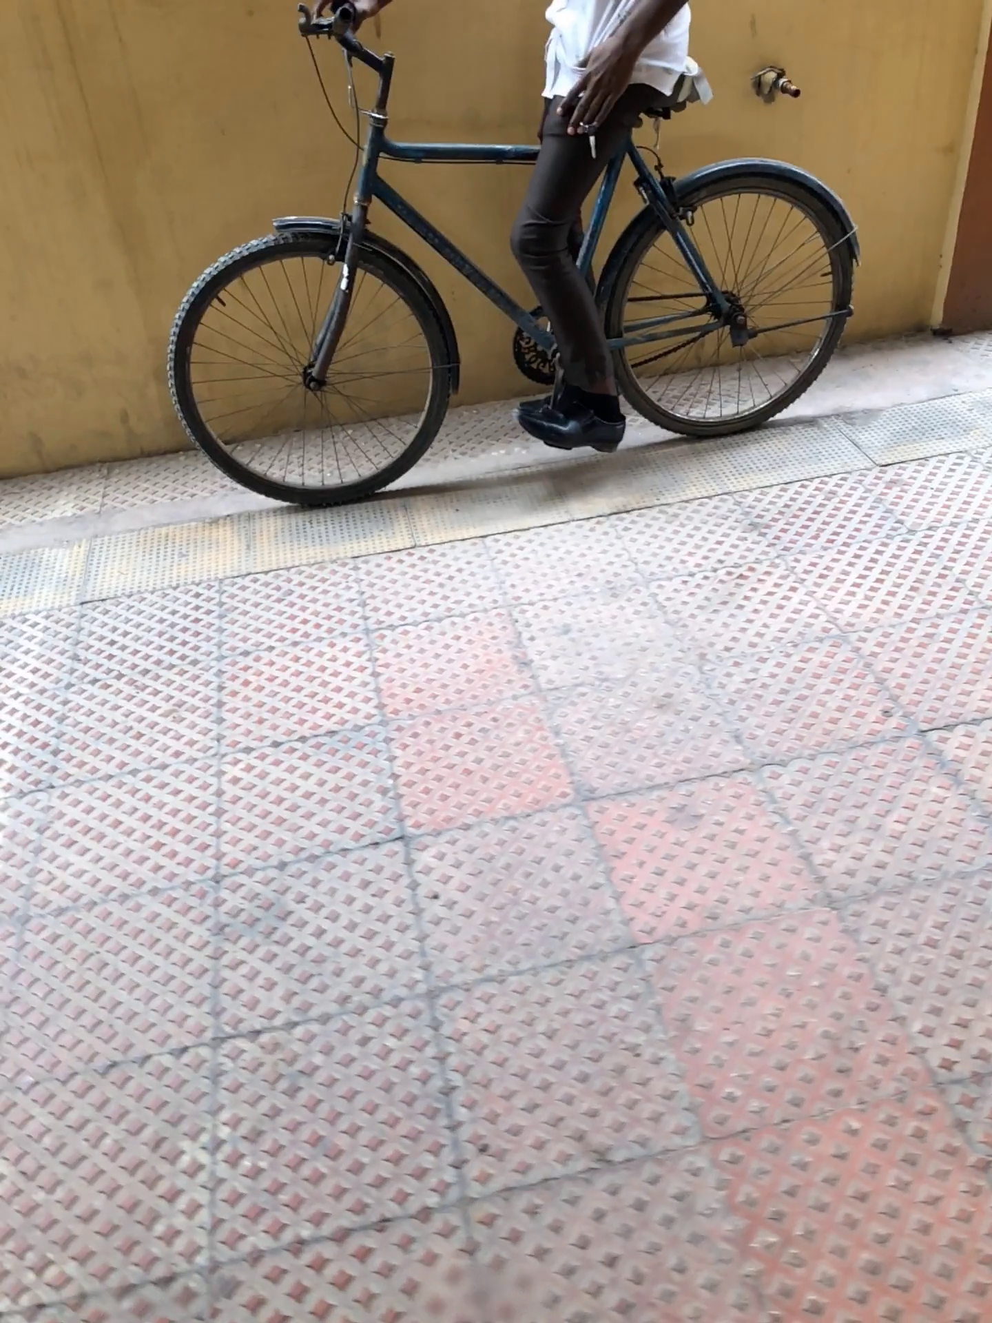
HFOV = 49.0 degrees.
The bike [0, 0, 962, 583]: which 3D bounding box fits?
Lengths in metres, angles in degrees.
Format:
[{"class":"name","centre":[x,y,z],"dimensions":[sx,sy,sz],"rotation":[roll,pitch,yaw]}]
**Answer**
[{"class":"bike","centre":[0.047,-0.851,2.250],"dimensions":[1.573,1.024,0.591],"rotation":[-8,38,-7]}]
